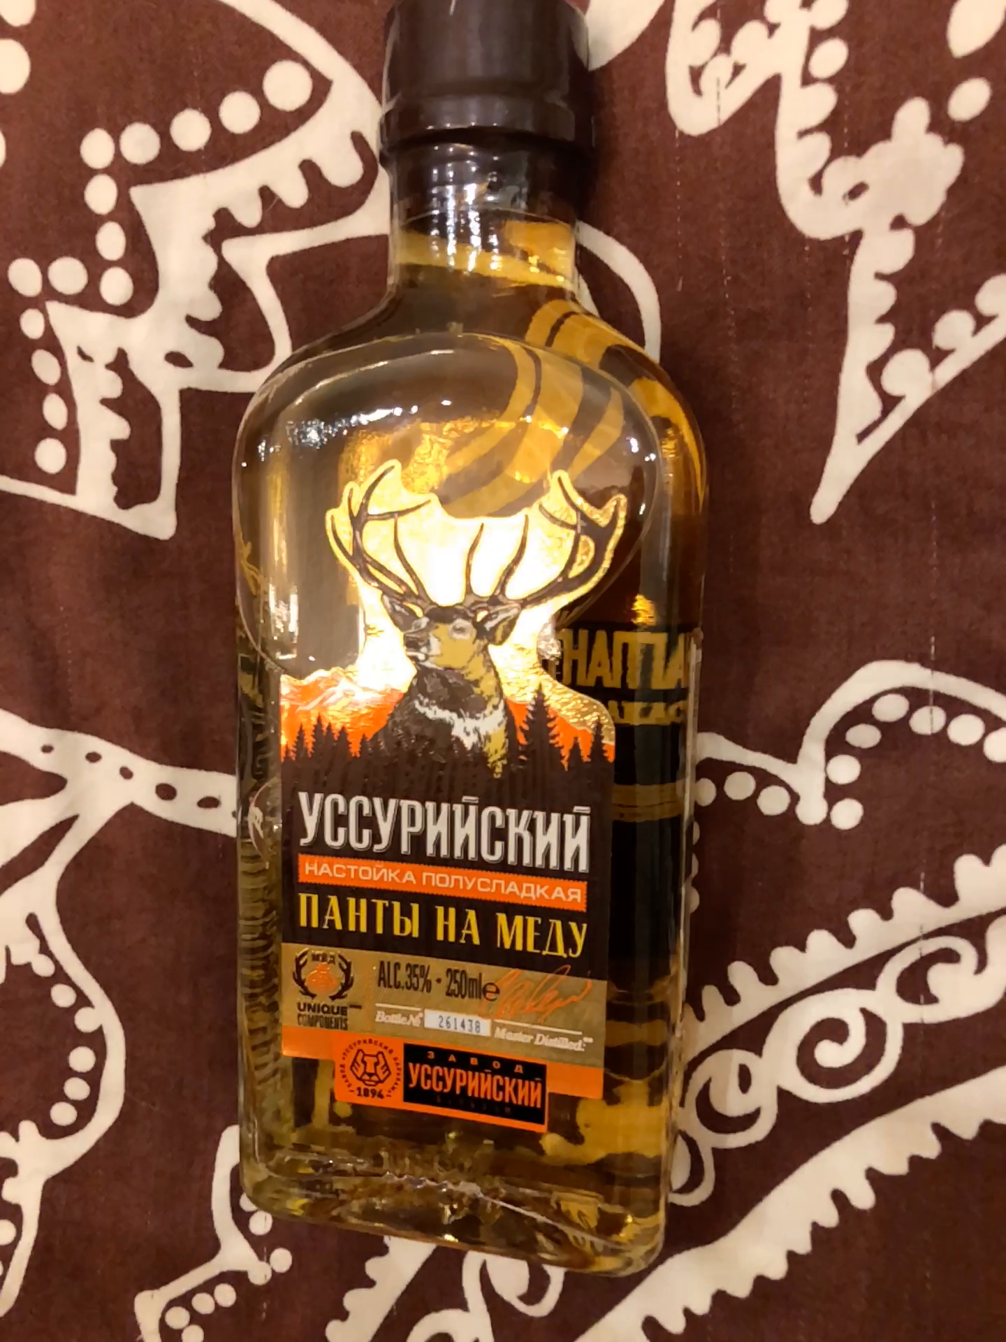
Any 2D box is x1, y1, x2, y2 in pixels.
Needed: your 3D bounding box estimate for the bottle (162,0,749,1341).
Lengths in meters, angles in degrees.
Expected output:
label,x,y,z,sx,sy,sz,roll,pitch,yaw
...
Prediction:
label,x,y,z,sx,sy,sz,roll,pitch,yaw
bottle,-0.006,-0.004,0.168,0.070,0.050,0.190,4,96,15
